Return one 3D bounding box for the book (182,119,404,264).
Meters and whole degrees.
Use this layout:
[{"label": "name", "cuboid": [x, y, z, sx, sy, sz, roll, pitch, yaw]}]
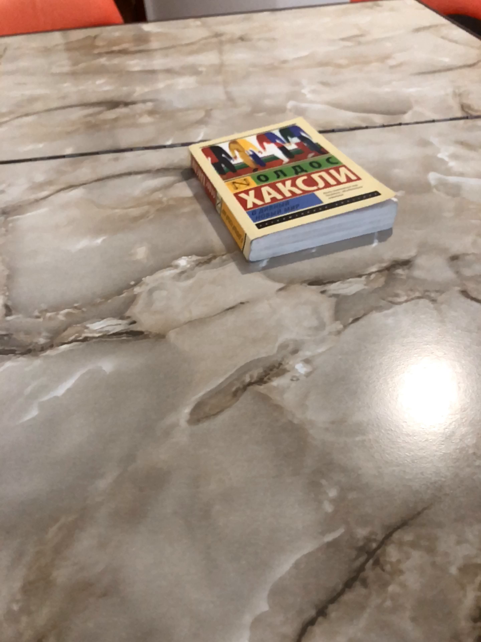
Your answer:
[{"label": "book", "cuboid": [0.033, -0.118, 0.446, 0.120, 0.020, 0.185, -16, 41, -12]}]
